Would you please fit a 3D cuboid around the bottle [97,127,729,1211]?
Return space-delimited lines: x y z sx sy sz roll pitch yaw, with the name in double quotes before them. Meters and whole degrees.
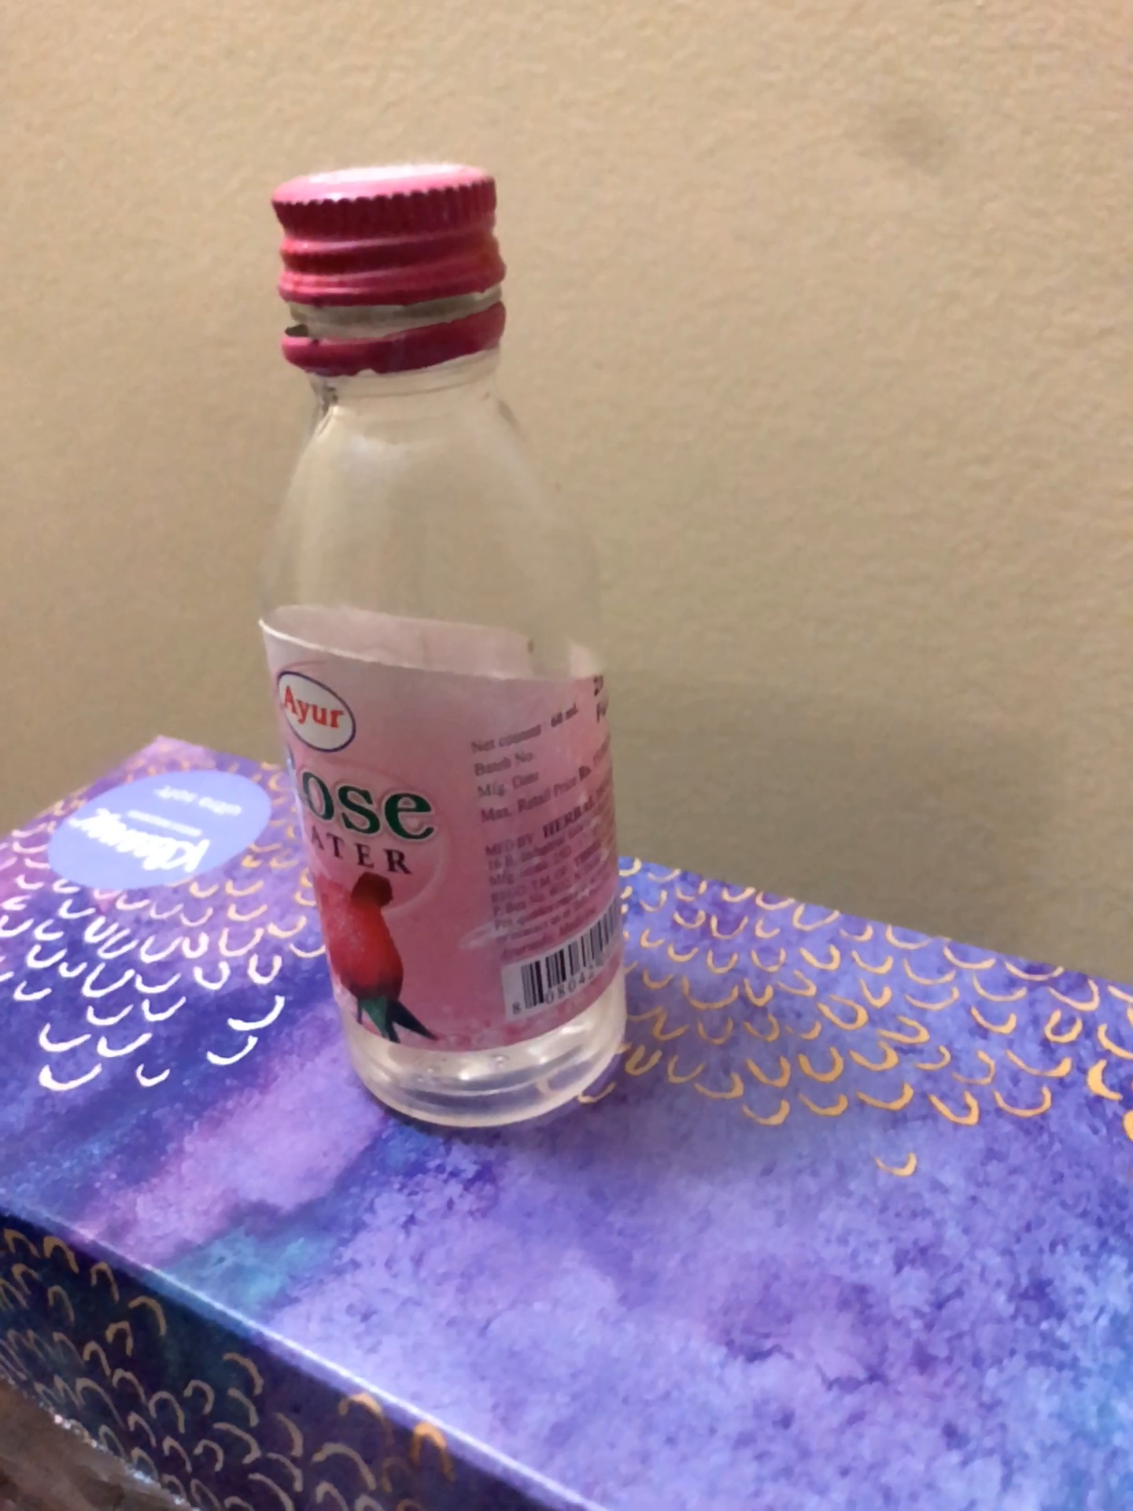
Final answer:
"bottle" -0.011 -0.010 0.137 0.040 0.100 0.040 -3 28 2
